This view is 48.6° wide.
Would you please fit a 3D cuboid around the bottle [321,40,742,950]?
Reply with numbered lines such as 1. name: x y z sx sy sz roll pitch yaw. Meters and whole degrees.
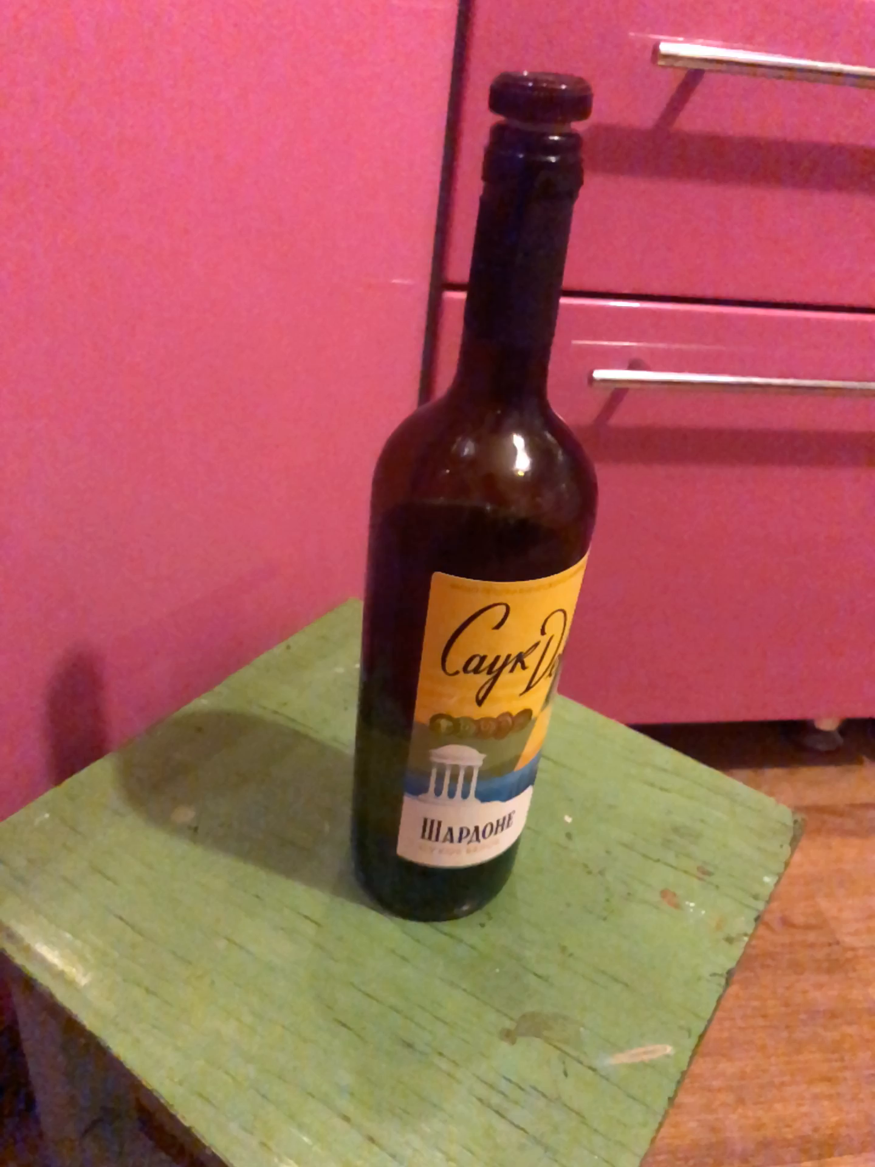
1. bottle: 0.013 -0.009 0.334 0.072 0.301 0.071 5 32 -3
